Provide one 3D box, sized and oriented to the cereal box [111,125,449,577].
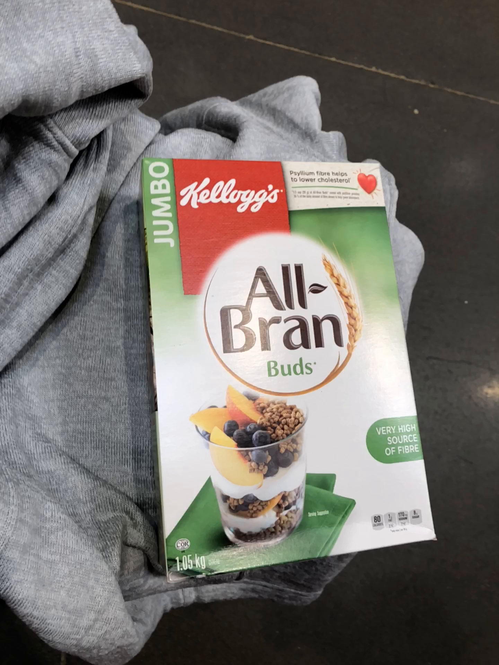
[{"bbox_3d":[0.012,0.000,0.415,0.200,0.070,0.300,-5,78,-13],"label":"cereal box"}]
